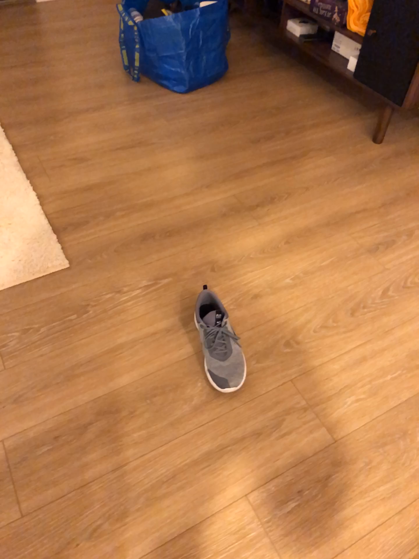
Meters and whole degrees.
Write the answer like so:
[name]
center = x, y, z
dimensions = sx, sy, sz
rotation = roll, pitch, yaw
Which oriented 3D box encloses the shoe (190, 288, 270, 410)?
[shoe]
center = 0.044, 0.172, 1.201
dimensions = 0.140, 0.089, 0.302
rotation = -6, 48, -9
